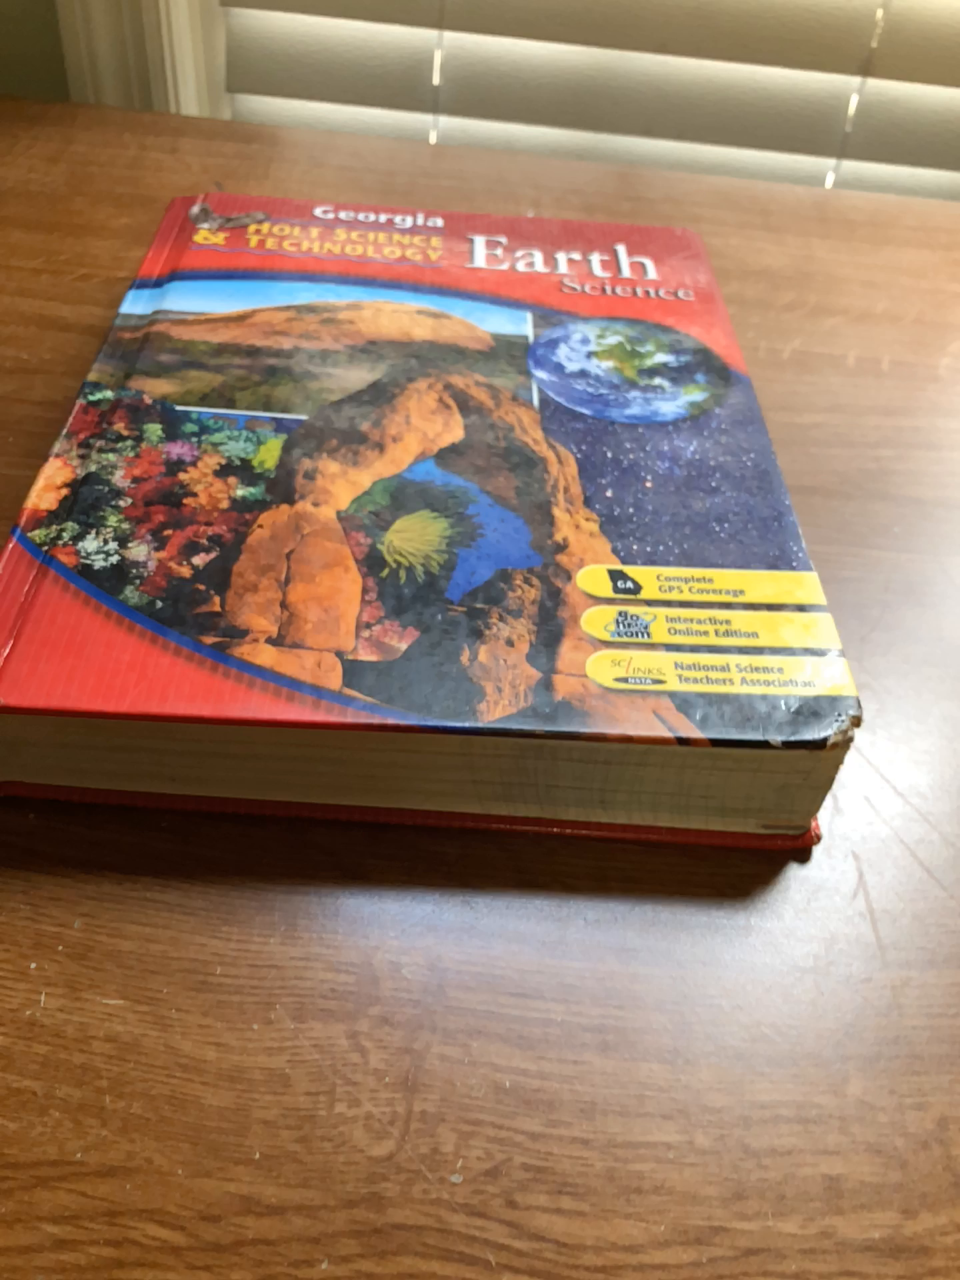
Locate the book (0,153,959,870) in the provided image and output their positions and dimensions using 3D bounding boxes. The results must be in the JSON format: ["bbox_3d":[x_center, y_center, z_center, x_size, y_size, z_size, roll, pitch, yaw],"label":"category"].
[{"bbox_3d":[0.003,-0.063,0.328,0.214,0.050,0.267,4,44,-3],"label":"book"}]
